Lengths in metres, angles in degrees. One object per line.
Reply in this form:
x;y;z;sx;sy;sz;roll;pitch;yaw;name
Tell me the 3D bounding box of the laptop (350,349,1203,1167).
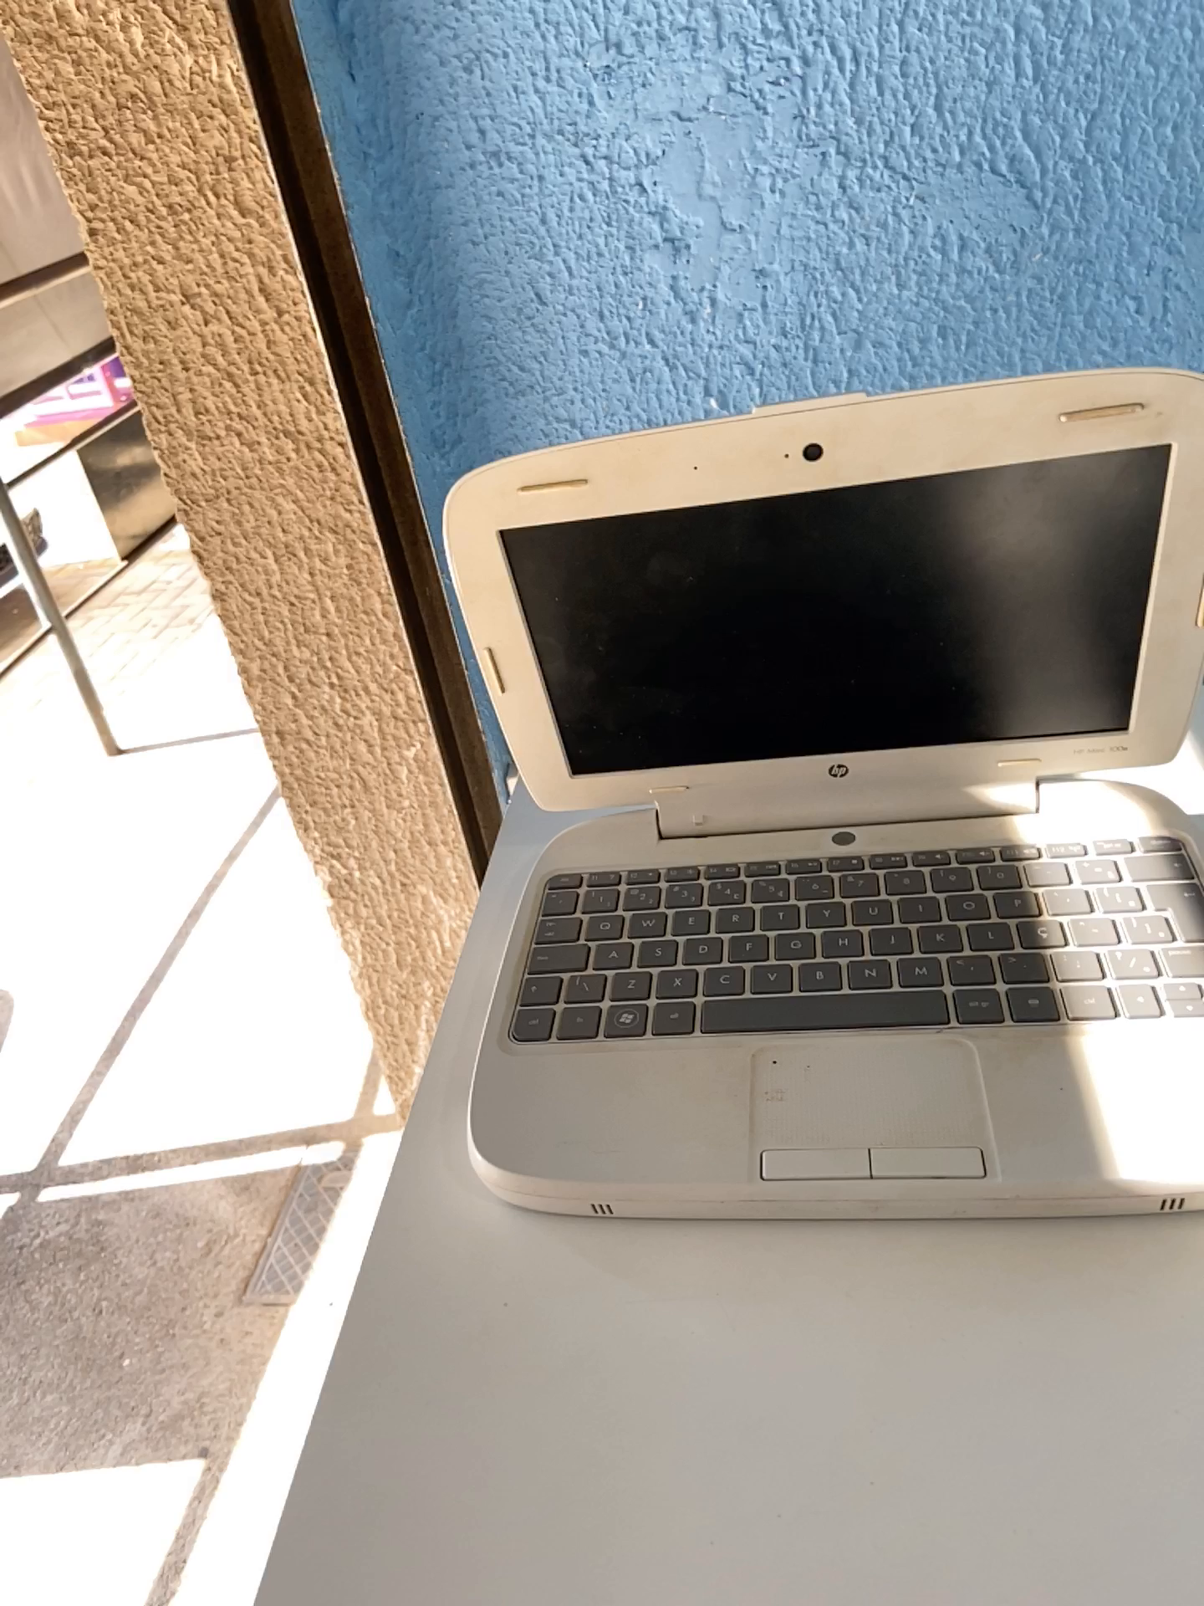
0.078;-0.015;0.407;0.247;0.172;0.178;-5;33;12;laptop
